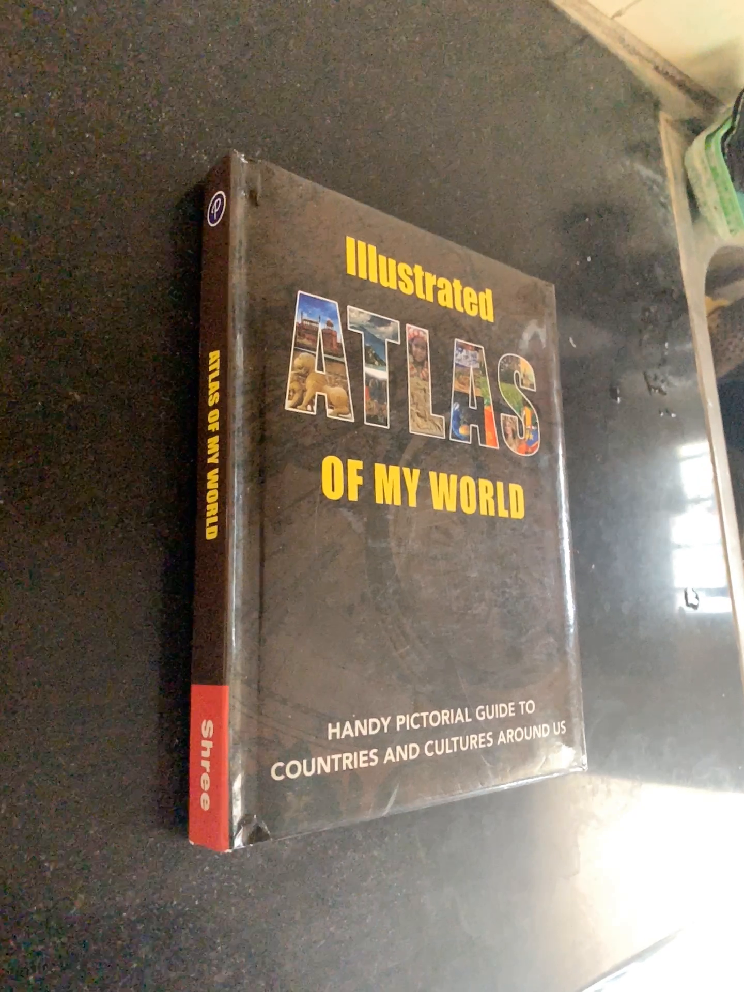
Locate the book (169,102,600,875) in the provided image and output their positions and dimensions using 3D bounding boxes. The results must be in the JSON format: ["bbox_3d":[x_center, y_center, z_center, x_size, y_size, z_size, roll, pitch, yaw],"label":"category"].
[{"bbox_3d":[0.014,-0.003,0.343,0.201,0.040,0.270,6,77,-39],"label":"book"}]
